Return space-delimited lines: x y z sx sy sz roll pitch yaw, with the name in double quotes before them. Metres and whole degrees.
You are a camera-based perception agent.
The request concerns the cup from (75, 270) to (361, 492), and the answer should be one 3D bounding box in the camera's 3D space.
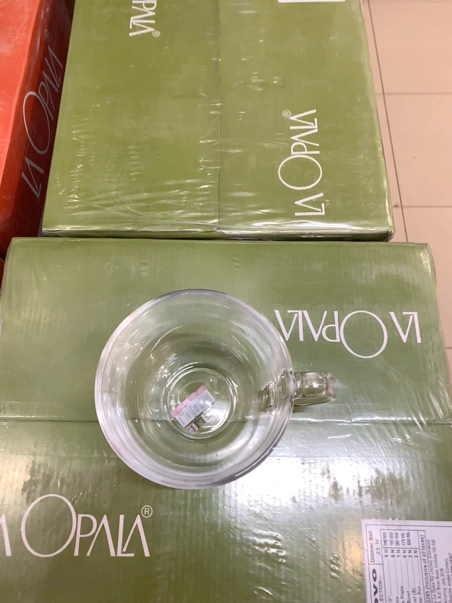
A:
"cup" -0.007 0.054 0.289 0.140 0.090 0.110 -3 69 -1
